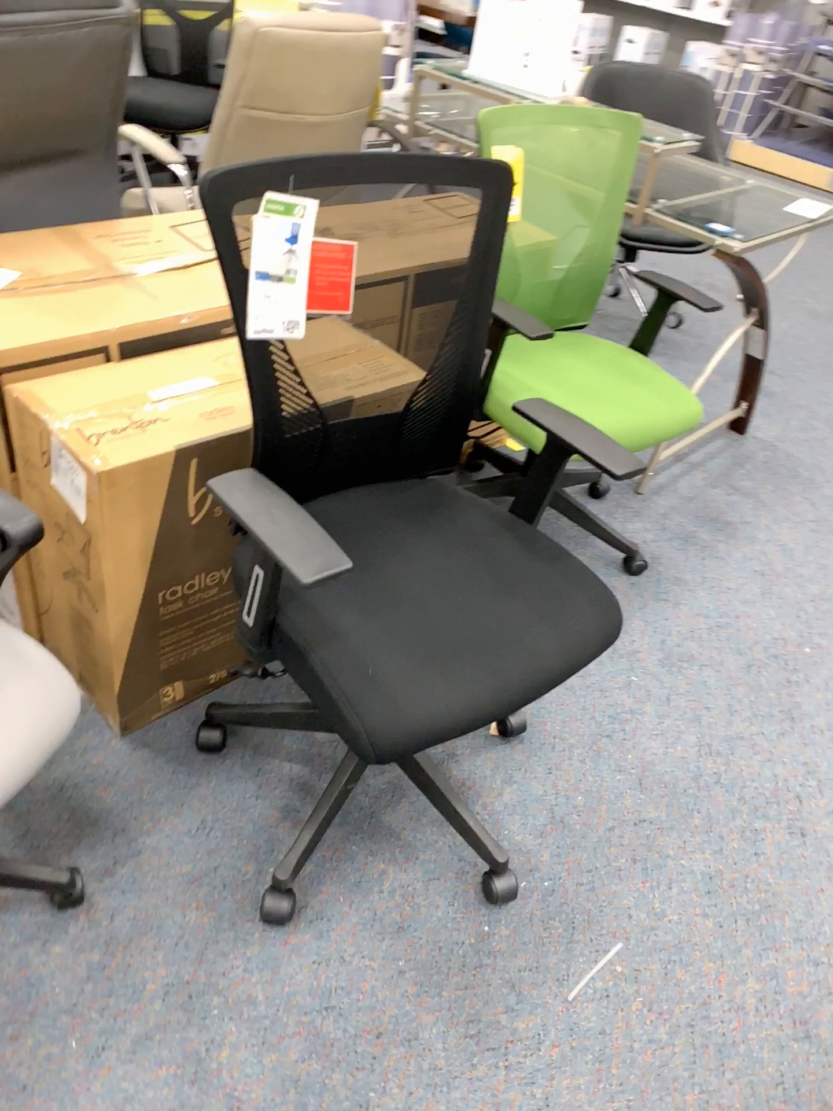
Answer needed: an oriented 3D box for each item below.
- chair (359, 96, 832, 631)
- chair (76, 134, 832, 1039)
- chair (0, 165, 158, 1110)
[{"bbox_3d":[0.386,-0.488,2.022,0.673,0.934,0.710,-20,47,-33],"label":"chair"},{"bbox_3d":[0.013,0.001,1.253,0.683,0.974,0.680,-20,47,-33],"label":"chair"},{"bbox_3d":[-0.804,0.131,1.003,0.679,0.874,0.624,30,42,23],"label":"chair"}]
